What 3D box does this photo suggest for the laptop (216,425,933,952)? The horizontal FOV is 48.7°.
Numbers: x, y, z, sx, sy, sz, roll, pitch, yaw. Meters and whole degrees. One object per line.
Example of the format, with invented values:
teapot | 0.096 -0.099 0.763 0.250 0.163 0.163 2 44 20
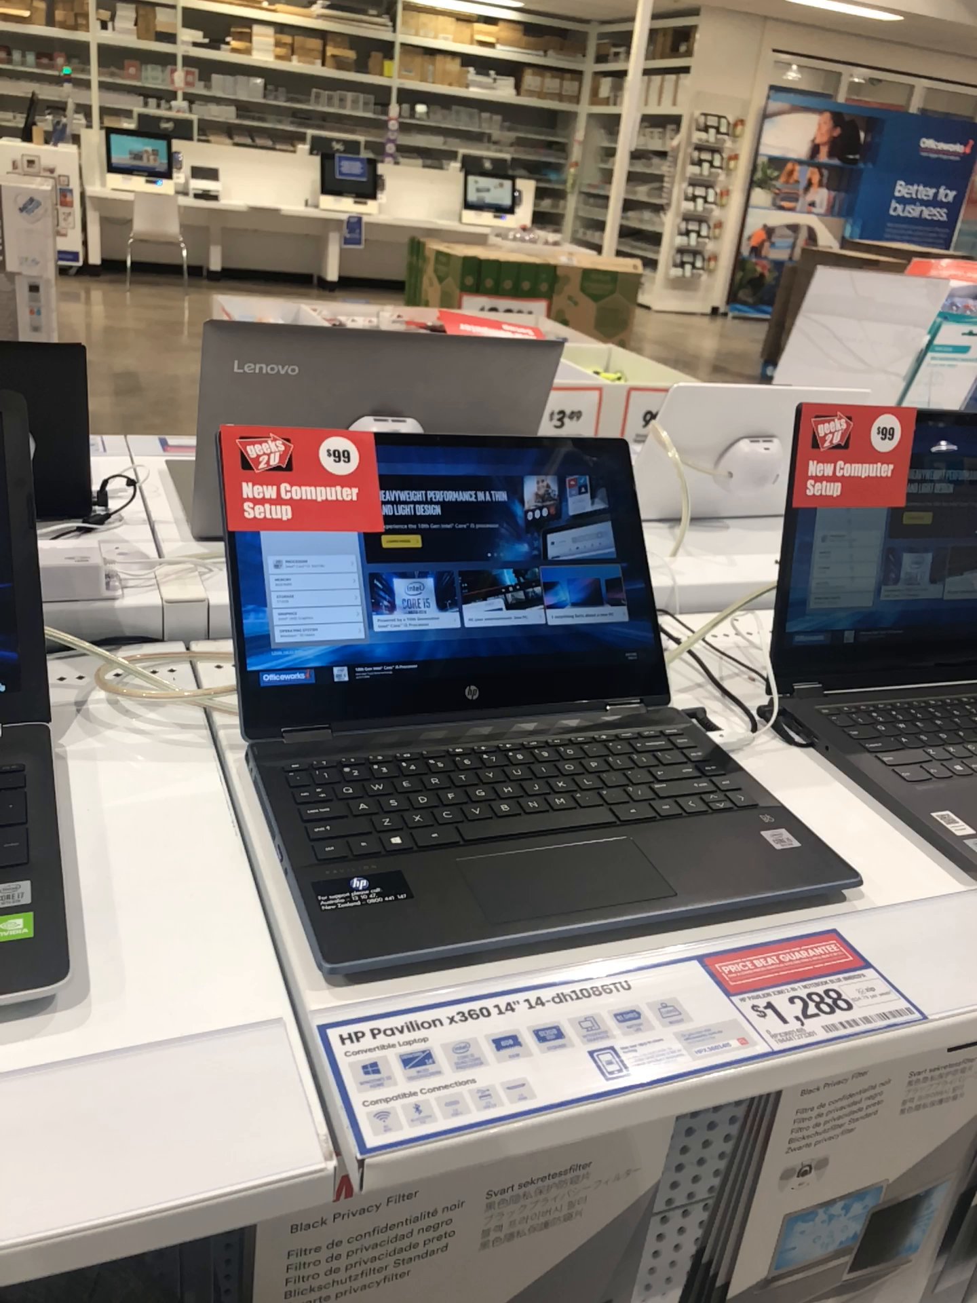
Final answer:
laptop | 0.015 -0.014 0.682 0.315 0.165 0.350 -3 26 -22
